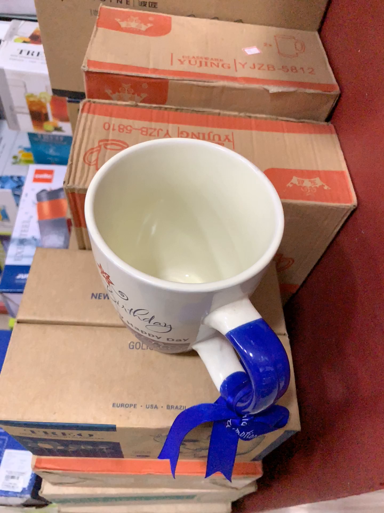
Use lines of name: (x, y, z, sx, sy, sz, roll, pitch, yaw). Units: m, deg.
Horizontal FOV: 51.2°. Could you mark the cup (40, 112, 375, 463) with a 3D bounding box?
cup: (-0.004, 0.011, 0.207, 0.092, 0.086, 0.132, -21, 60, -20)
